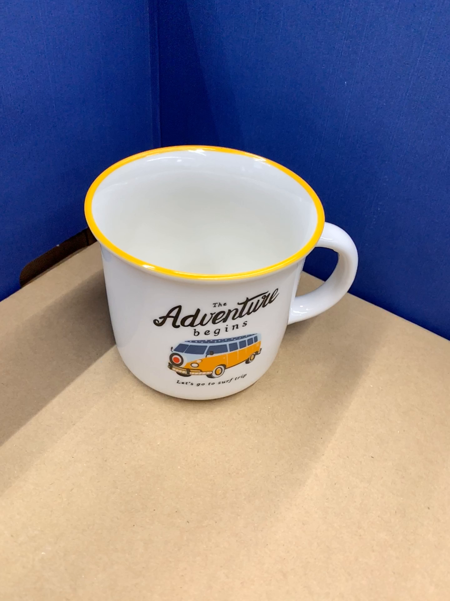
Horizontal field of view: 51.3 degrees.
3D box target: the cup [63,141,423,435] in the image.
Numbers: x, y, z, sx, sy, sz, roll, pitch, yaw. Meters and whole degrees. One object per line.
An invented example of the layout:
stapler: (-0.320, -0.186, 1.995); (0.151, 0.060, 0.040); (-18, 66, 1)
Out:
cup: (-0.002, -0.012, 0.221); (0.124, 0.083, 0.102); (-4, 43, -11)
